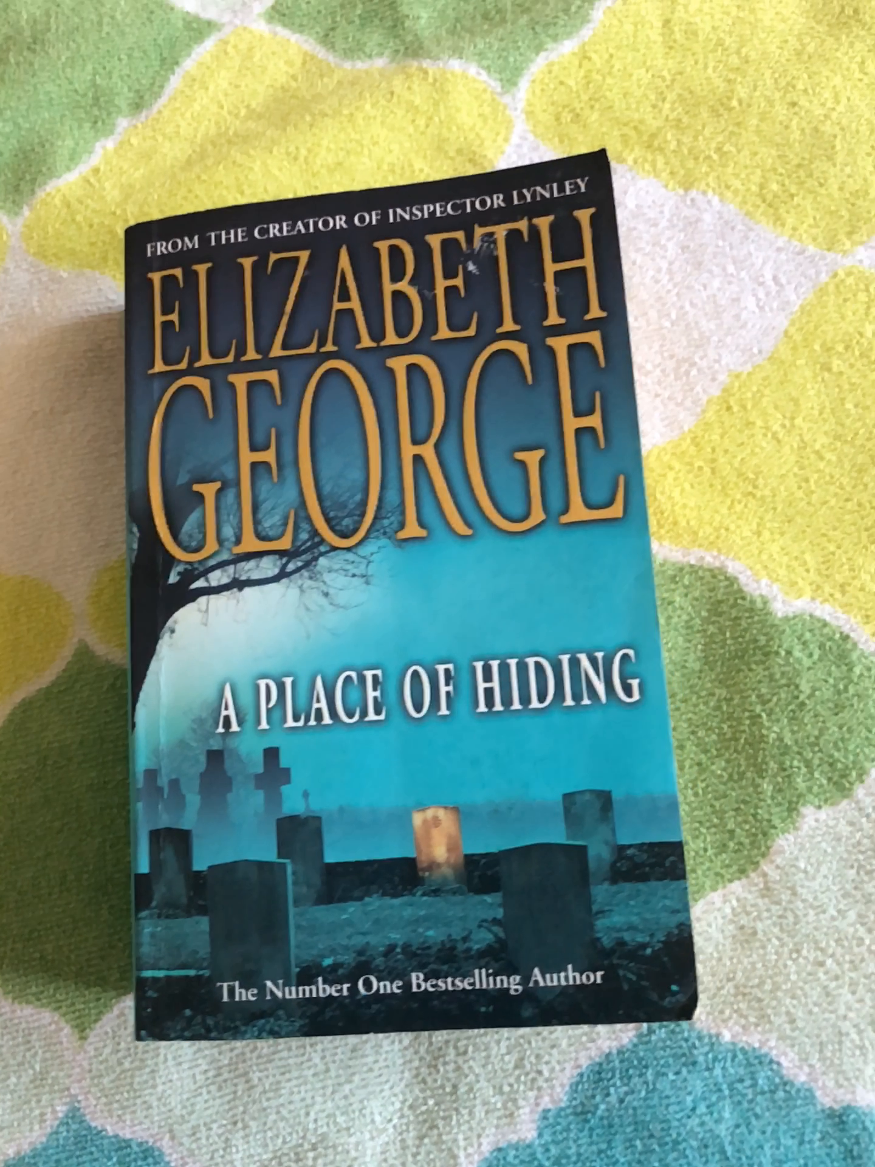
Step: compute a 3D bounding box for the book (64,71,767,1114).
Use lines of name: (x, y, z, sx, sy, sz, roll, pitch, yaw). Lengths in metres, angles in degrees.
book: (-0.009, -0.001, 0.241, 0.130, 0.070, 0.210, -5, 83, 0)
